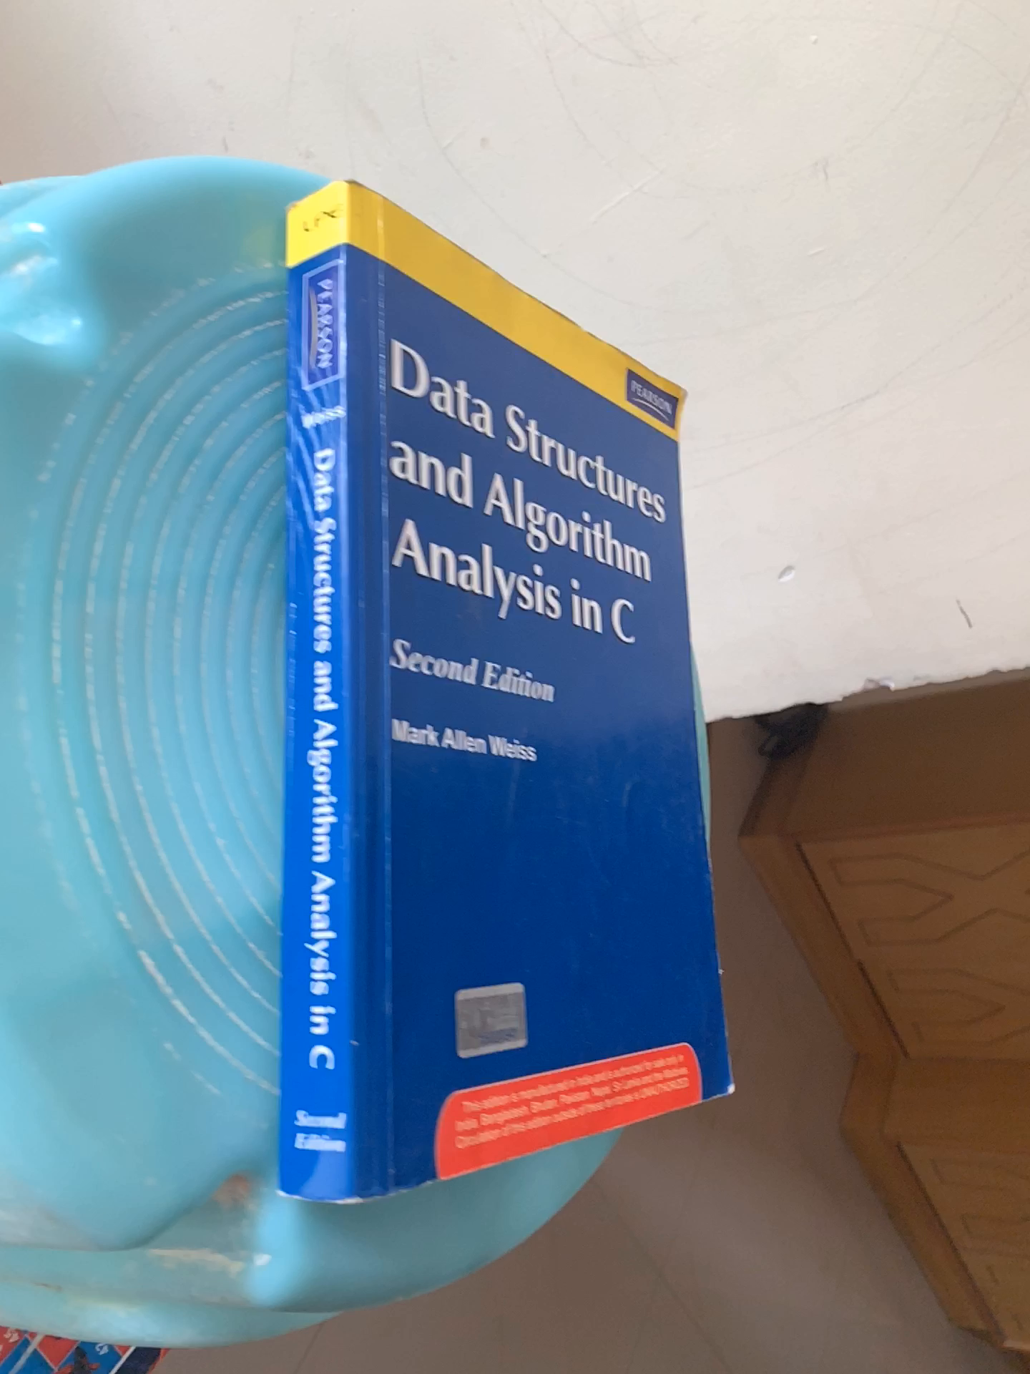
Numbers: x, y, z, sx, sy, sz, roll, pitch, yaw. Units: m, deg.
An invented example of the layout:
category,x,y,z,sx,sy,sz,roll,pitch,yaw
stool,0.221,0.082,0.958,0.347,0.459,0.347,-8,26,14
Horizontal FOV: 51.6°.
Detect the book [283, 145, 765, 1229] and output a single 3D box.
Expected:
category,x,y,z,sx,sy,sz,roll,pitch,yaw
book,0.010,0.000,0.301,0.161,0.030,0.240,12,72,-49
